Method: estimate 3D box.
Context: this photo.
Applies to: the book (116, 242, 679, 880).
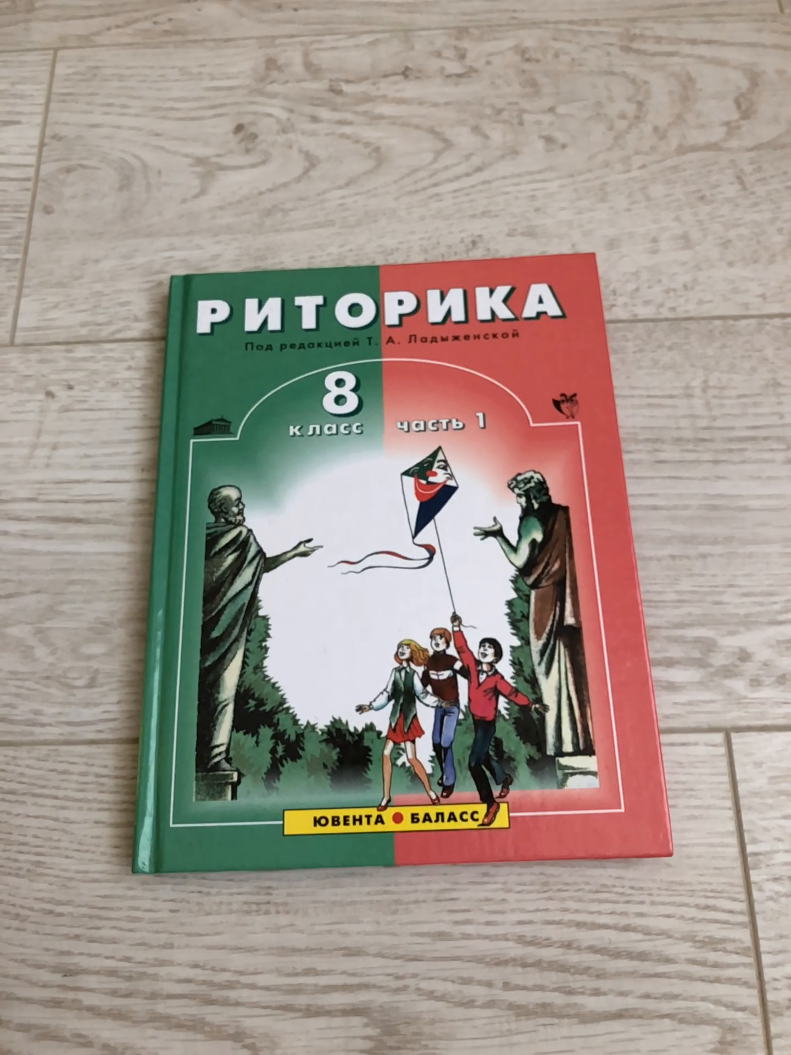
[{"bbox_3d":[-0.004,0.002,0.314,0.170,0.020,0.223,-3,70,2],"label":"book"}]
